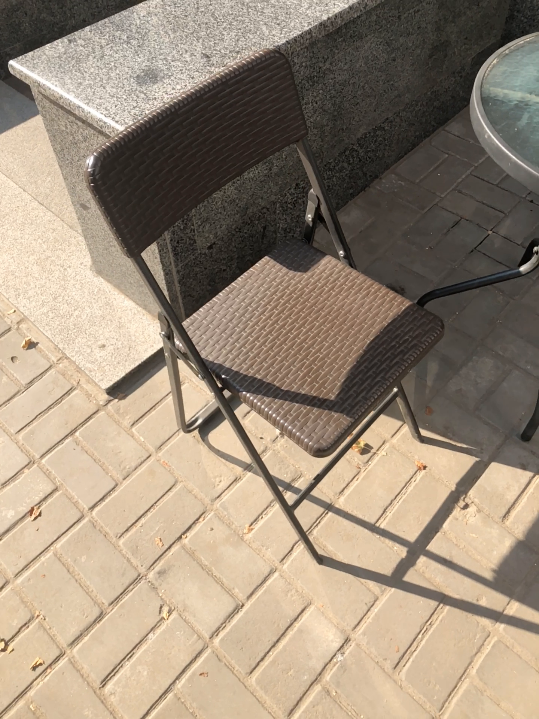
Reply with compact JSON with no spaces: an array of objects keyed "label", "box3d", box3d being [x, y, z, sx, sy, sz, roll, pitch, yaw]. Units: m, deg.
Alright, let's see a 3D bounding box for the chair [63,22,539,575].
[{"label":"chair","box3d":[0.059,-0.052,1.071,0.461,0.788,0.431,34,61,24]}]
